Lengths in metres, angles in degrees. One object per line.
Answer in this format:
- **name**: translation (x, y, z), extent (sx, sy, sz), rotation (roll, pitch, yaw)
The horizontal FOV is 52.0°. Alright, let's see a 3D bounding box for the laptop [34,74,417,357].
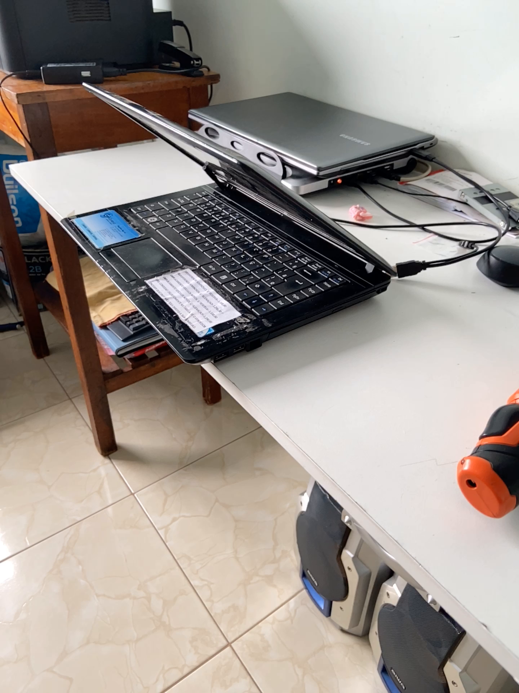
- **laptop**: translation (-0.056, -0.168, 0.551), extent (0.228, 0.144, 0.336), rotation (-21, 40, -27)
